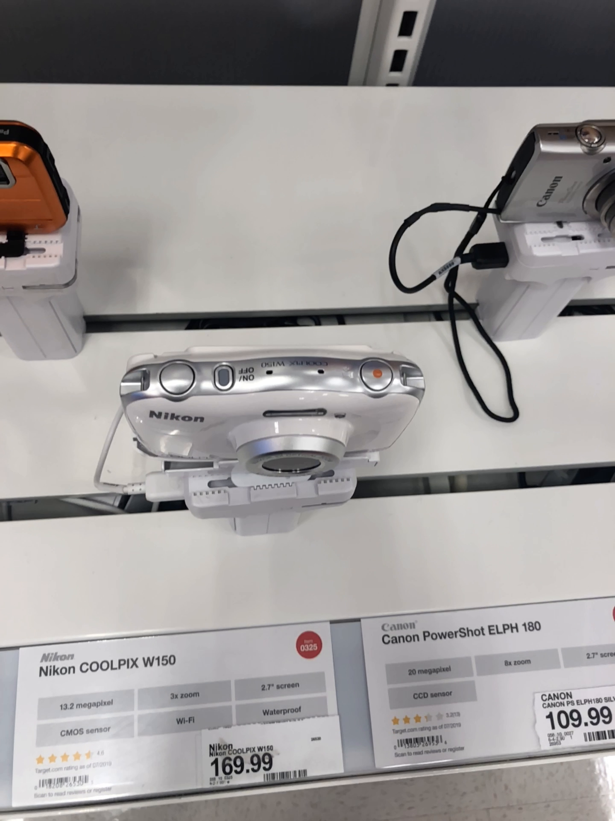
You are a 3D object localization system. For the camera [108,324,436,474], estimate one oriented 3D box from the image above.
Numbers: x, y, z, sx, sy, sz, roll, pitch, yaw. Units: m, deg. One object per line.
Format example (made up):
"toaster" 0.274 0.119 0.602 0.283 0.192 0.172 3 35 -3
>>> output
"camera" -0.014 -0.002 0.250 0.105 0.056 0.032 -3 70 -7
